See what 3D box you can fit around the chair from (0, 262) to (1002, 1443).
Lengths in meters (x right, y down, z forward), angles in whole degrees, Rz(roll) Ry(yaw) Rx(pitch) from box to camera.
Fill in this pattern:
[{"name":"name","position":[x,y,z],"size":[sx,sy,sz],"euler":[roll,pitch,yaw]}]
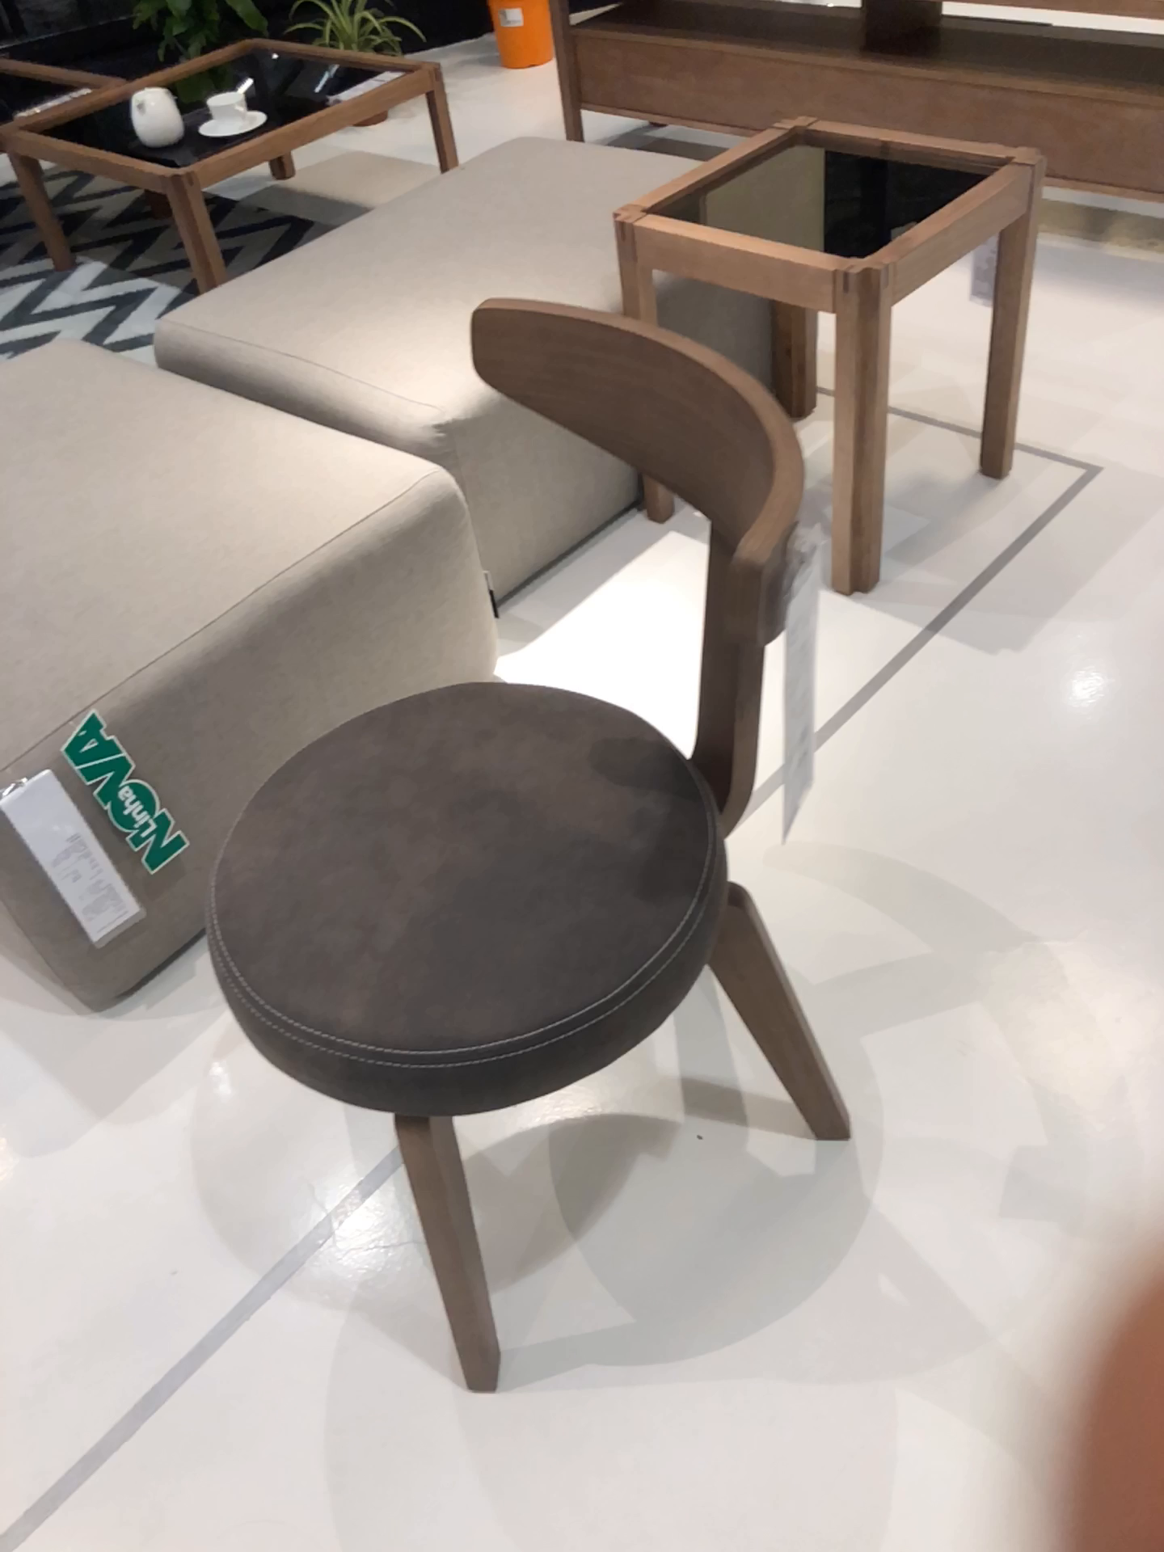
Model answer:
[{"name":"chair","position":[-0.055,0.068,1.076],"size":[0.520,0.705,0.503],"euler":[-22,44,-13]}]
